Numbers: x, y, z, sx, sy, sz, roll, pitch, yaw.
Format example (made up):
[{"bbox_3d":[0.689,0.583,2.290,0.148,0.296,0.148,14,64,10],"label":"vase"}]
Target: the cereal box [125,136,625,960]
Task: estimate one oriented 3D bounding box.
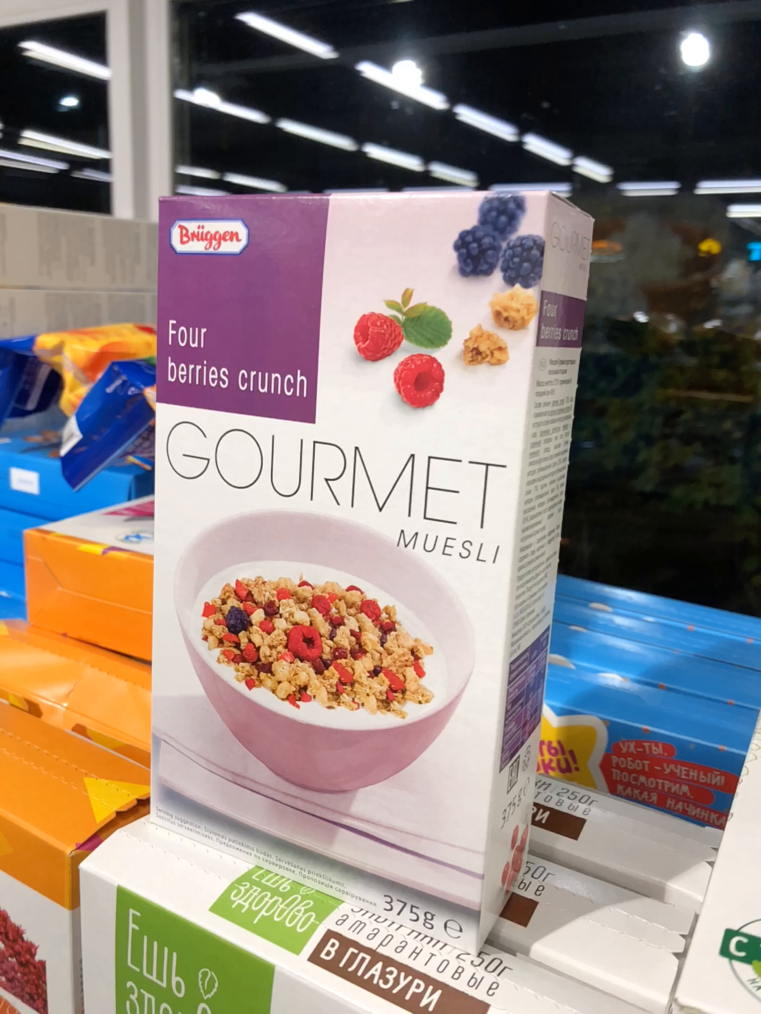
[{"bbox_3d":[-0.010,0.007,0.272,0.140,0.219,0.050,9,12,26],"label":"cereal box"}]
